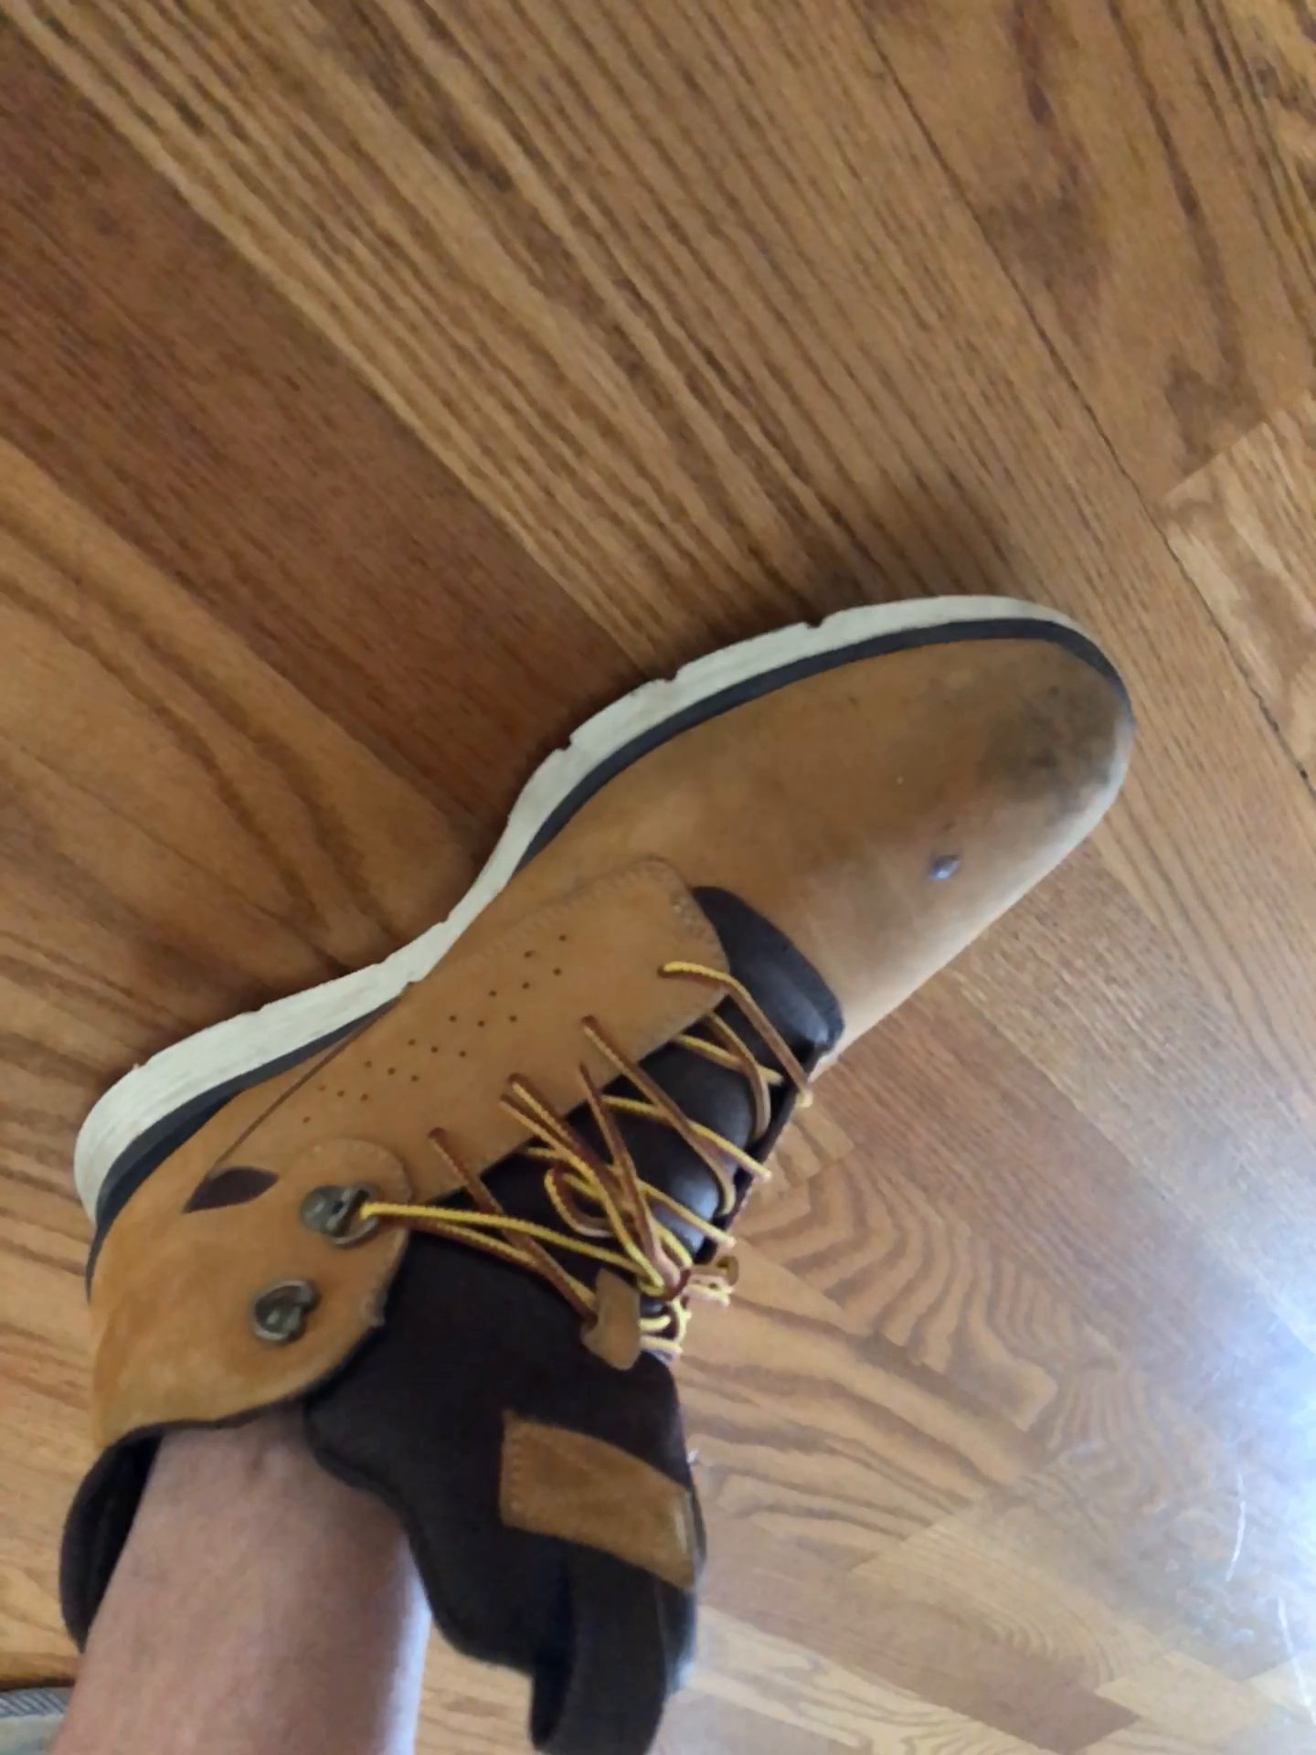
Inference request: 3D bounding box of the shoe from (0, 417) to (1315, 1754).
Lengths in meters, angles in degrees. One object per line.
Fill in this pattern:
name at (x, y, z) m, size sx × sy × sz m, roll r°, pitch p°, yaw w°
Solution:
shoe at (-0.010, 0.070, 0.317) m, size 0.310 × 0.169 × 0.121 m, roll -37°, pitch 127°, yaw 8°
